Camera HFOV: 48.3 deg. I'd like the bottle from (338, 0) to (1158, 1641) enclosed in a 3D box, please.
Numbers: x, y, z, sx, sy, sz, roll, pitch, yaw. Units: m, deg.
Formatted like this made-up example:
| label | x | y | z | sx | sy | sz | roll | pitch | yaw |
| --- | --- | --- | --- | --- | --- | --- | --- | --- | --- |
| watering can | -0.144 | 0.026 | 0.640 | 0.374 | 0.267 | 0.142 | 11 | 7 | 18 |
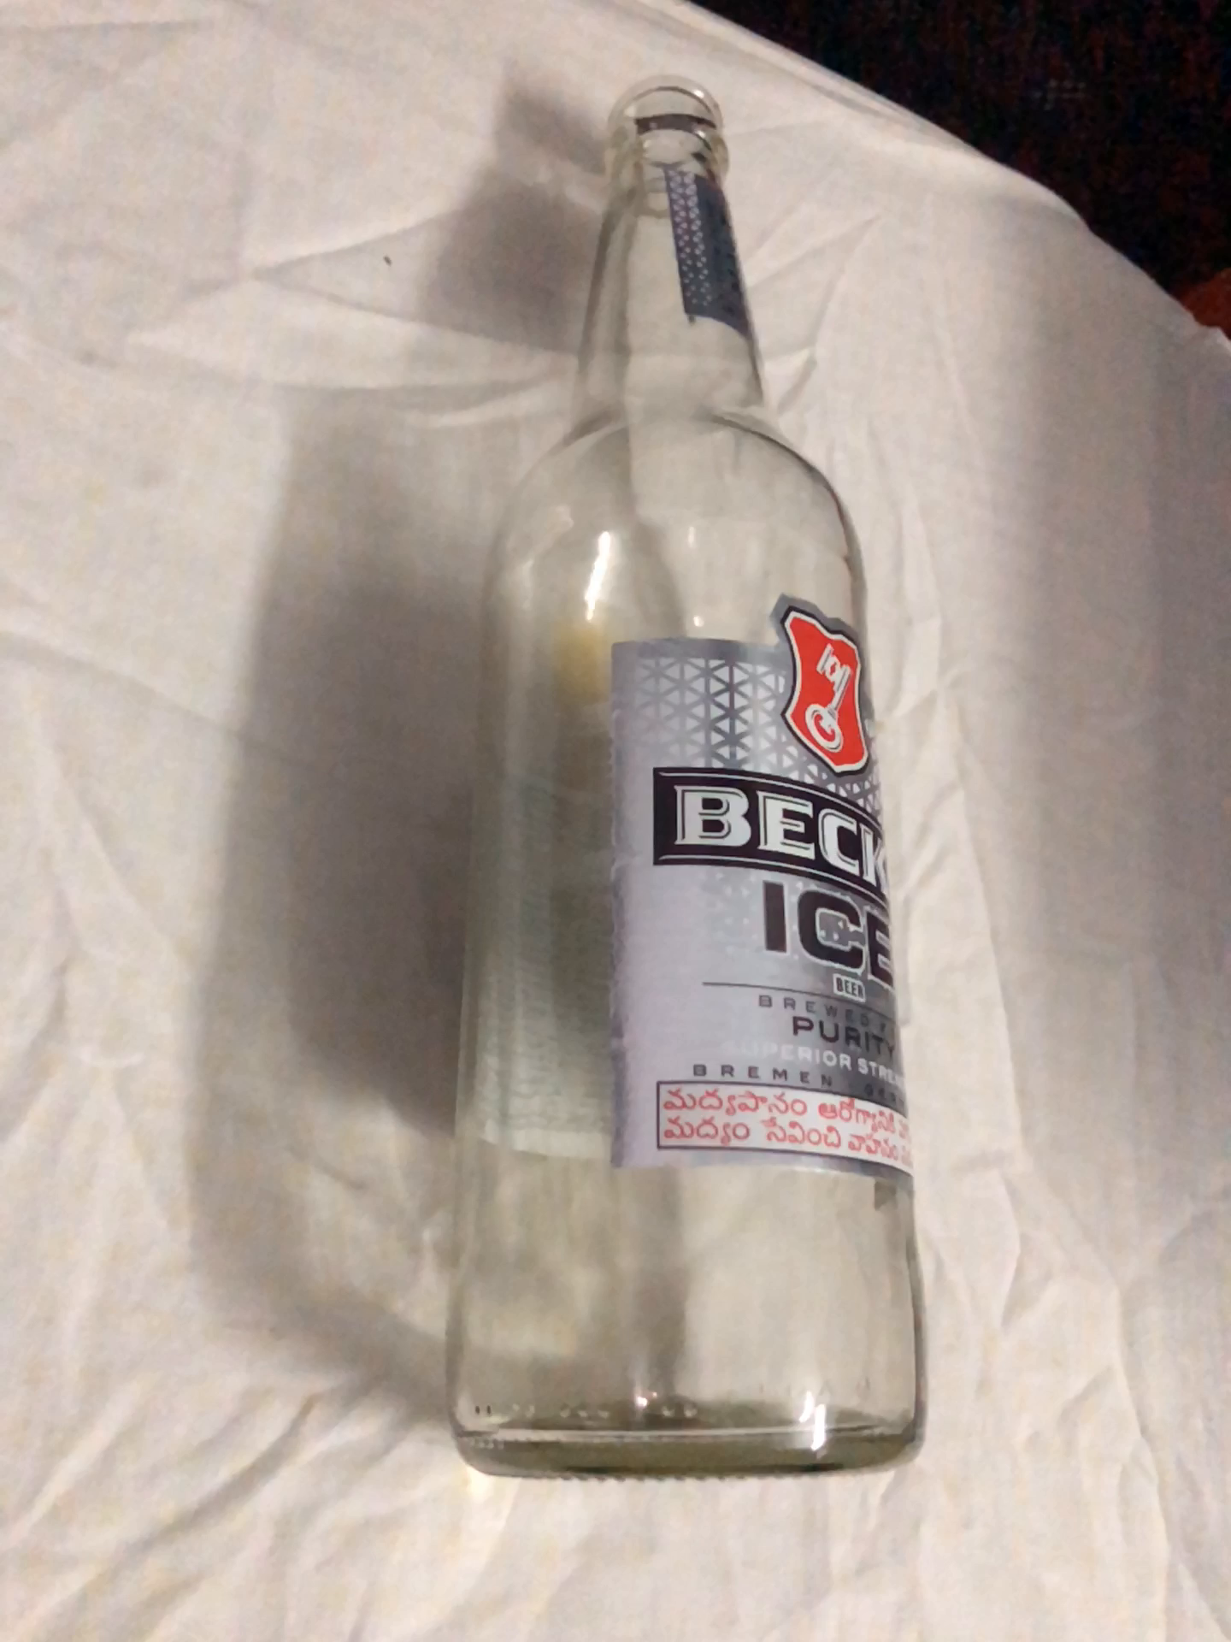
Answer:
| label | x | y | z | sx | sy | sz | roll | pitch | yaw |
| --- | --- | --- | --- | --- | --- | --- | --- | --- | --- |
| bottle | 0.018 | -0.035 | 0.225 | 0.080 | 0.080 | 0.280 | 10 | 72 | -24 |
